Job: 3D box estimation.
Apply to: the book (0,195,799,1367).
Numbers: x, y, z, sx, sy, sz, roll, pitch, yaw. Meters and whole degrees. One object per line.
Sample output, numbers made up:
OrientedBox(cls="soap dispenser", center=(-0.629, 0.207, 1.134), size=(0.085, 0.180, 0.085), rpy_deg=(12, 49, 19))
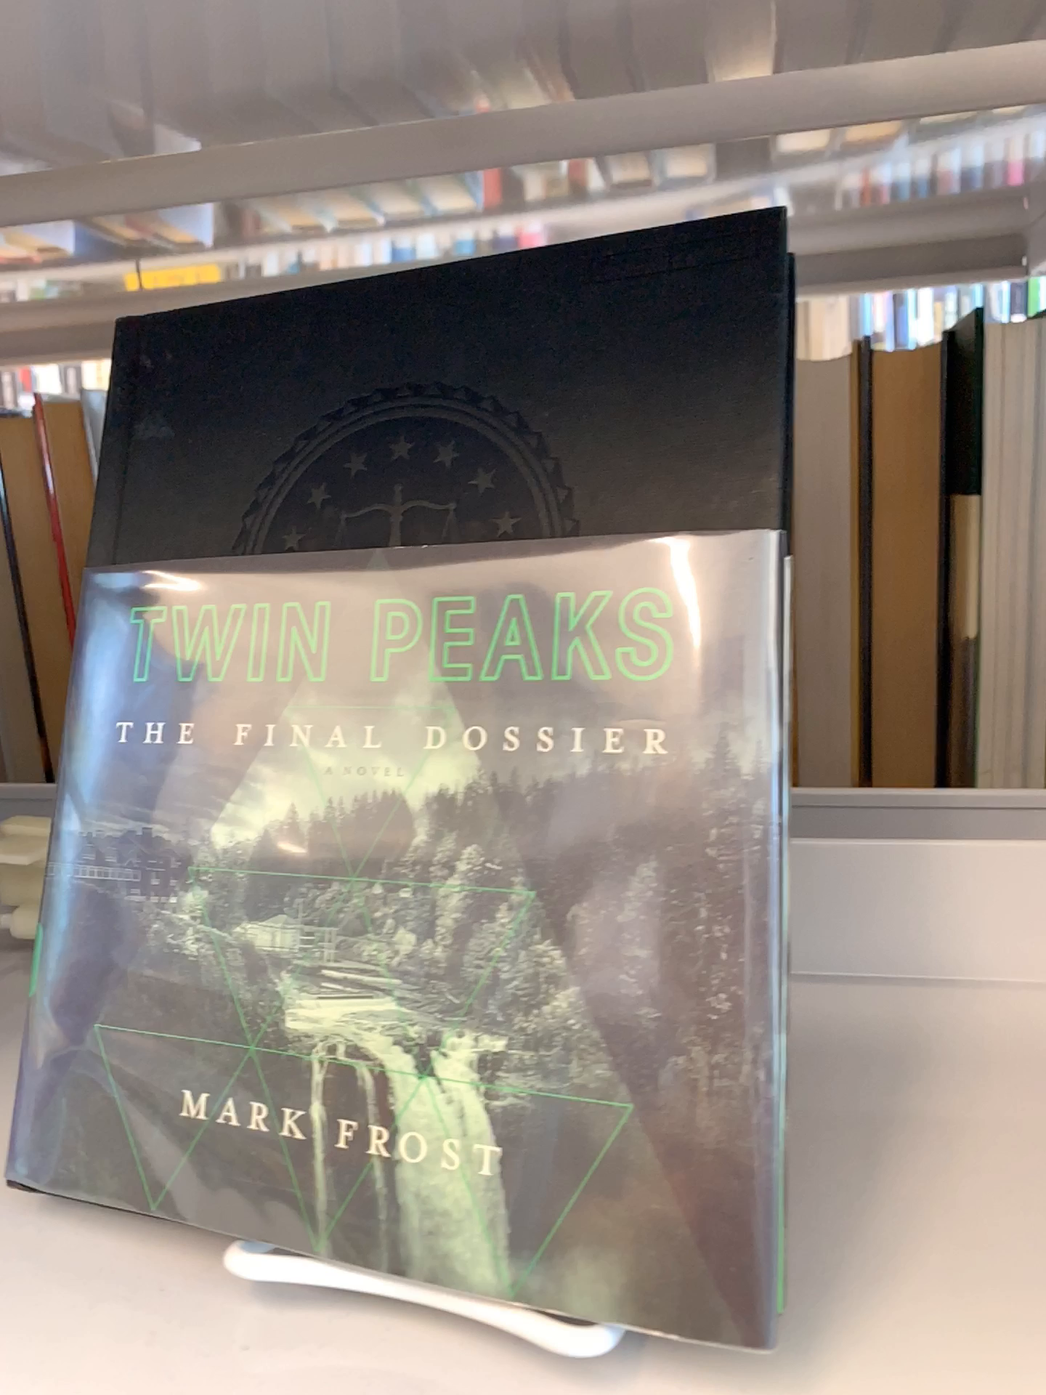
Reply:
OrientedBox(cls="book", center=(-0.036, 0.009, 0.257), size=(0.190, 0.228, 0.020), rpy_deg=(0, -8, 23))
